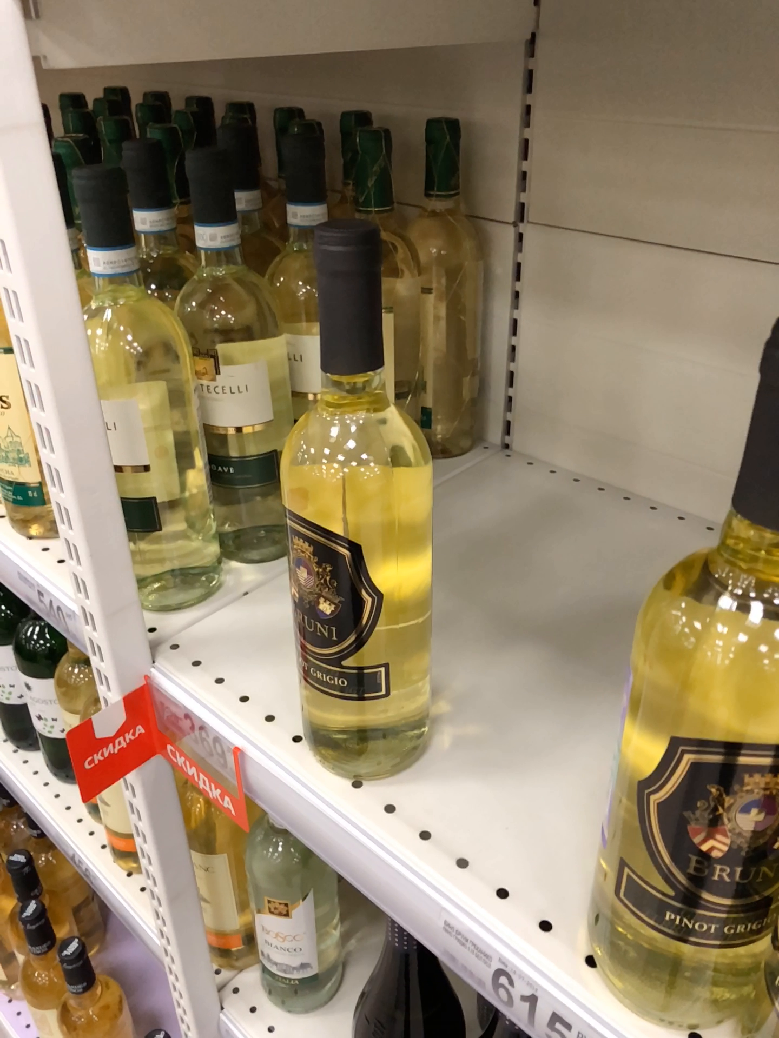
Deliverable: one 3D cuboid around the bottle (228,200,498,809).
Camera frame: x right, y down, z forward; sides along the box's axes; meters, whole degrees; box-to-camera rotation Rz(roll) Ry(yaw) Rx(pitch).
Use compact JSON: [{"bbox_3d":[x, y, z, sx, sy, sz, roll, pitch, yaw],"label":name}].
[{"bbox_3d":[-0.009,0.001,0.433,0.080,0.288,0.080,-1,30,0],"label":"bottle"}]
